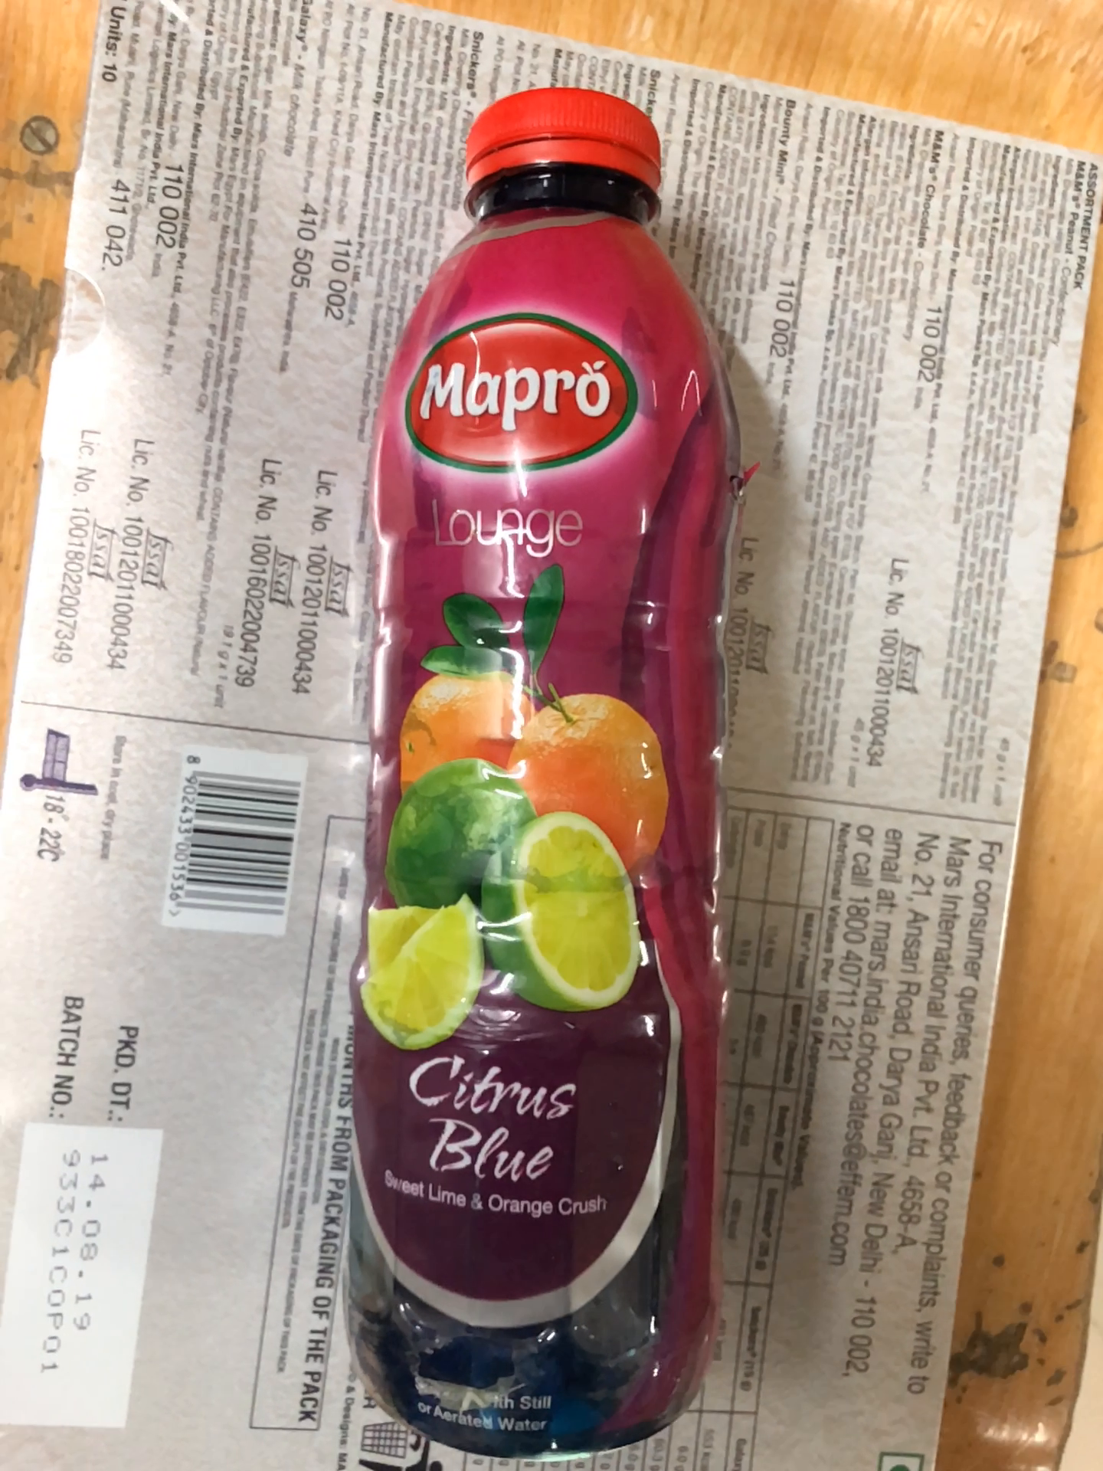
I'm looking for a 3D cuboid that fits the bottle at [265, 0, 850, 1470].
[{"bbox_3d":[0.006,-0.008,0.247,0.090,0.080,0.270,3,94,14],"label":"bottle"}]
